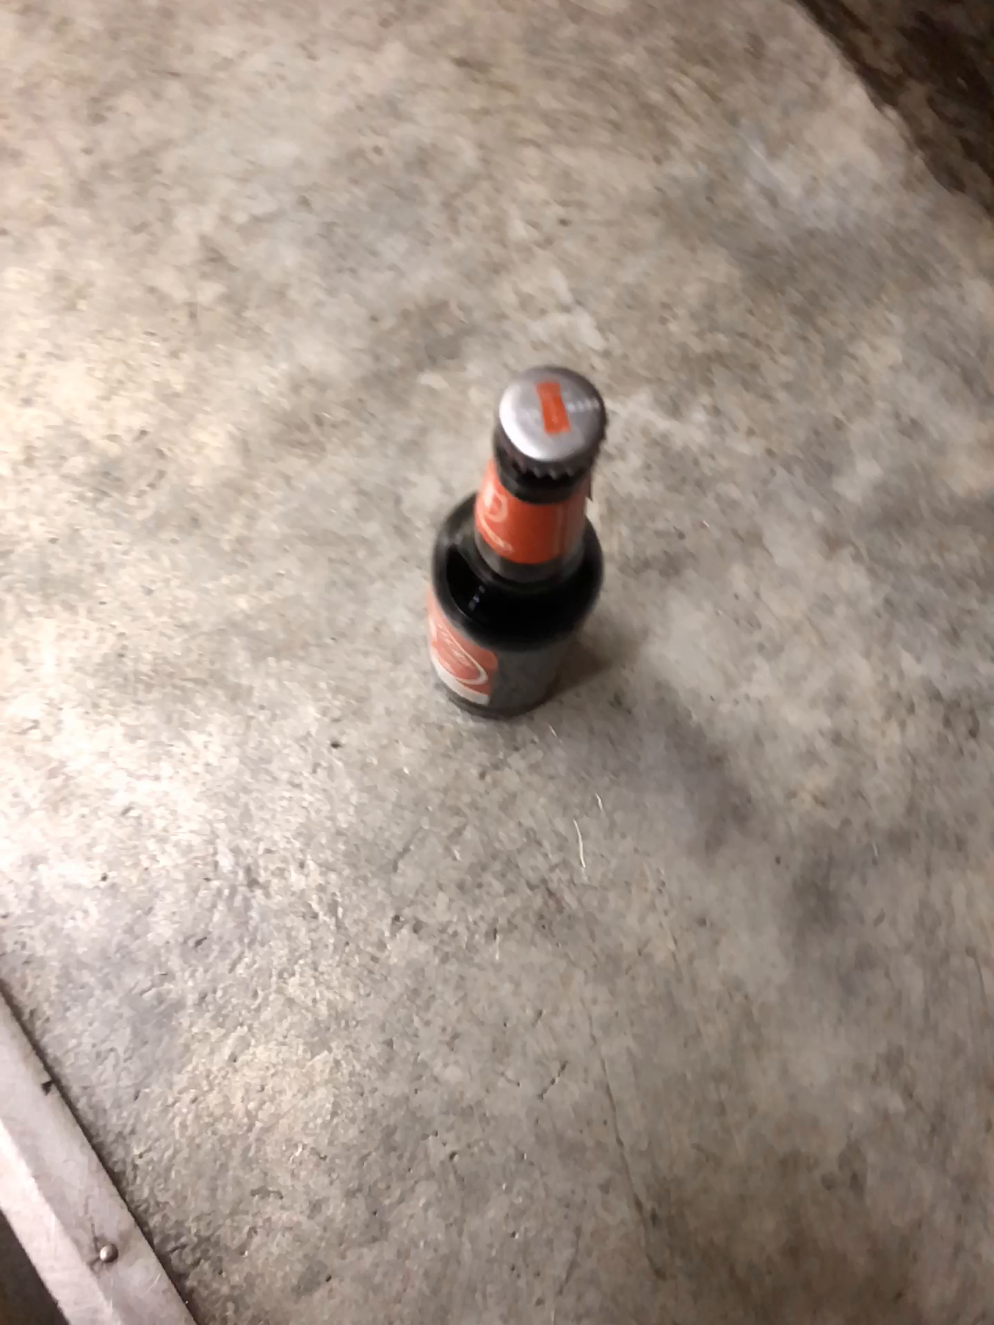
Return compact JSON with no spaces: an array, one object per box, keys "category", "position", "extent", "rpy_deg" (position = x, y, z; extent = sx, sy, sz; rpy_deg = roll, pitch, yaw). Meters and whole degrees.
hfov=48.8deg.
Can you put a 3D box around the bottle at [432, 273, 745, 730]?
[{"category":"bottle","position":[0.014,-0.033,0.358],"extent":[0.060,0.220,0.059],"rpy_deg":[1,75,-4]}]
